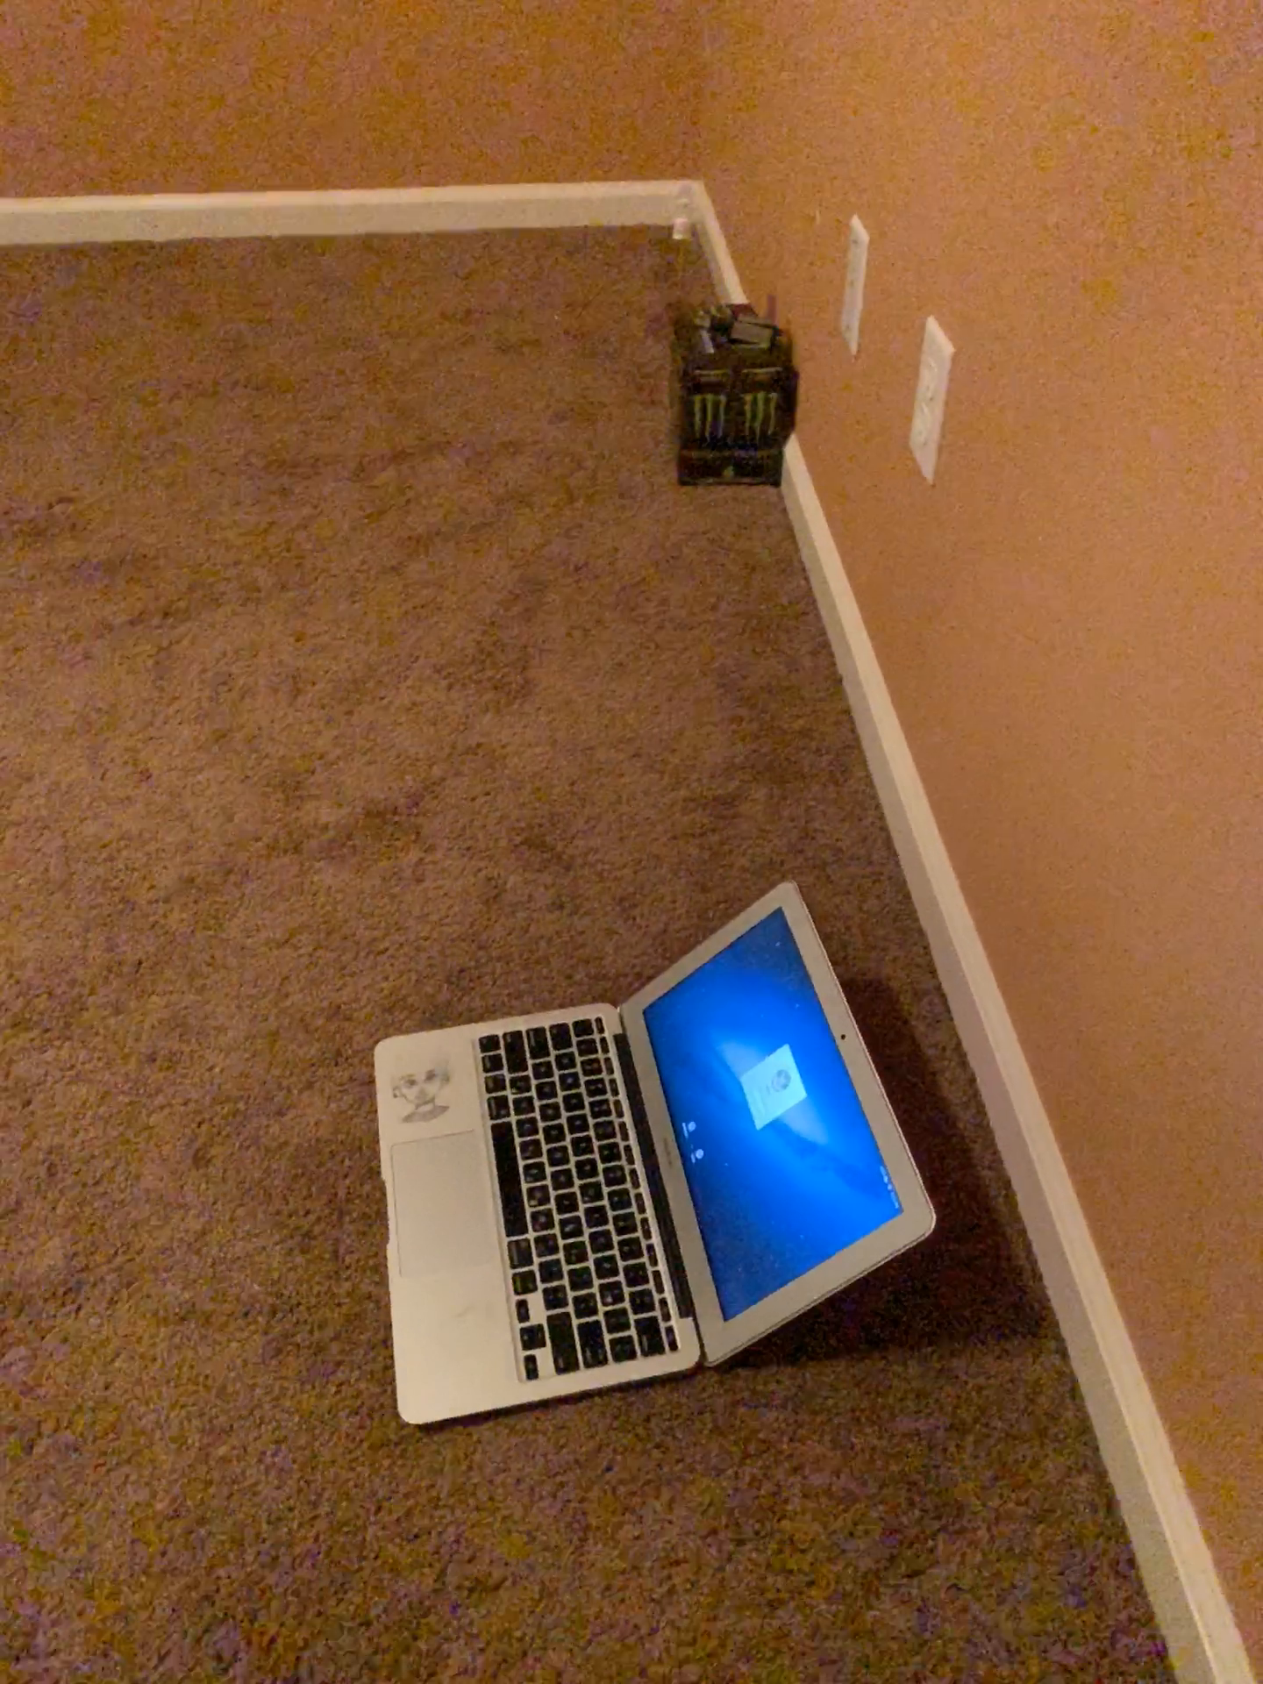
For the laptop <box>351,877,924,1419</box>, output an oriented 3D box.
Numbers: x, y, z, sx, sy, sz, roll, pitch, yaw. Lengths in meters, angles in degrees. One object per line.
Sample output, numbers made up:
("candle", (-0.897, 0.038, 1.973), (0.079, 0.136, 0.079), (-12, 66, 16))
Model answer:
("laptop", (-0.015, 0.191, 0.881), (0.324, 0.116, 0.300), (-7, 44, -7))
